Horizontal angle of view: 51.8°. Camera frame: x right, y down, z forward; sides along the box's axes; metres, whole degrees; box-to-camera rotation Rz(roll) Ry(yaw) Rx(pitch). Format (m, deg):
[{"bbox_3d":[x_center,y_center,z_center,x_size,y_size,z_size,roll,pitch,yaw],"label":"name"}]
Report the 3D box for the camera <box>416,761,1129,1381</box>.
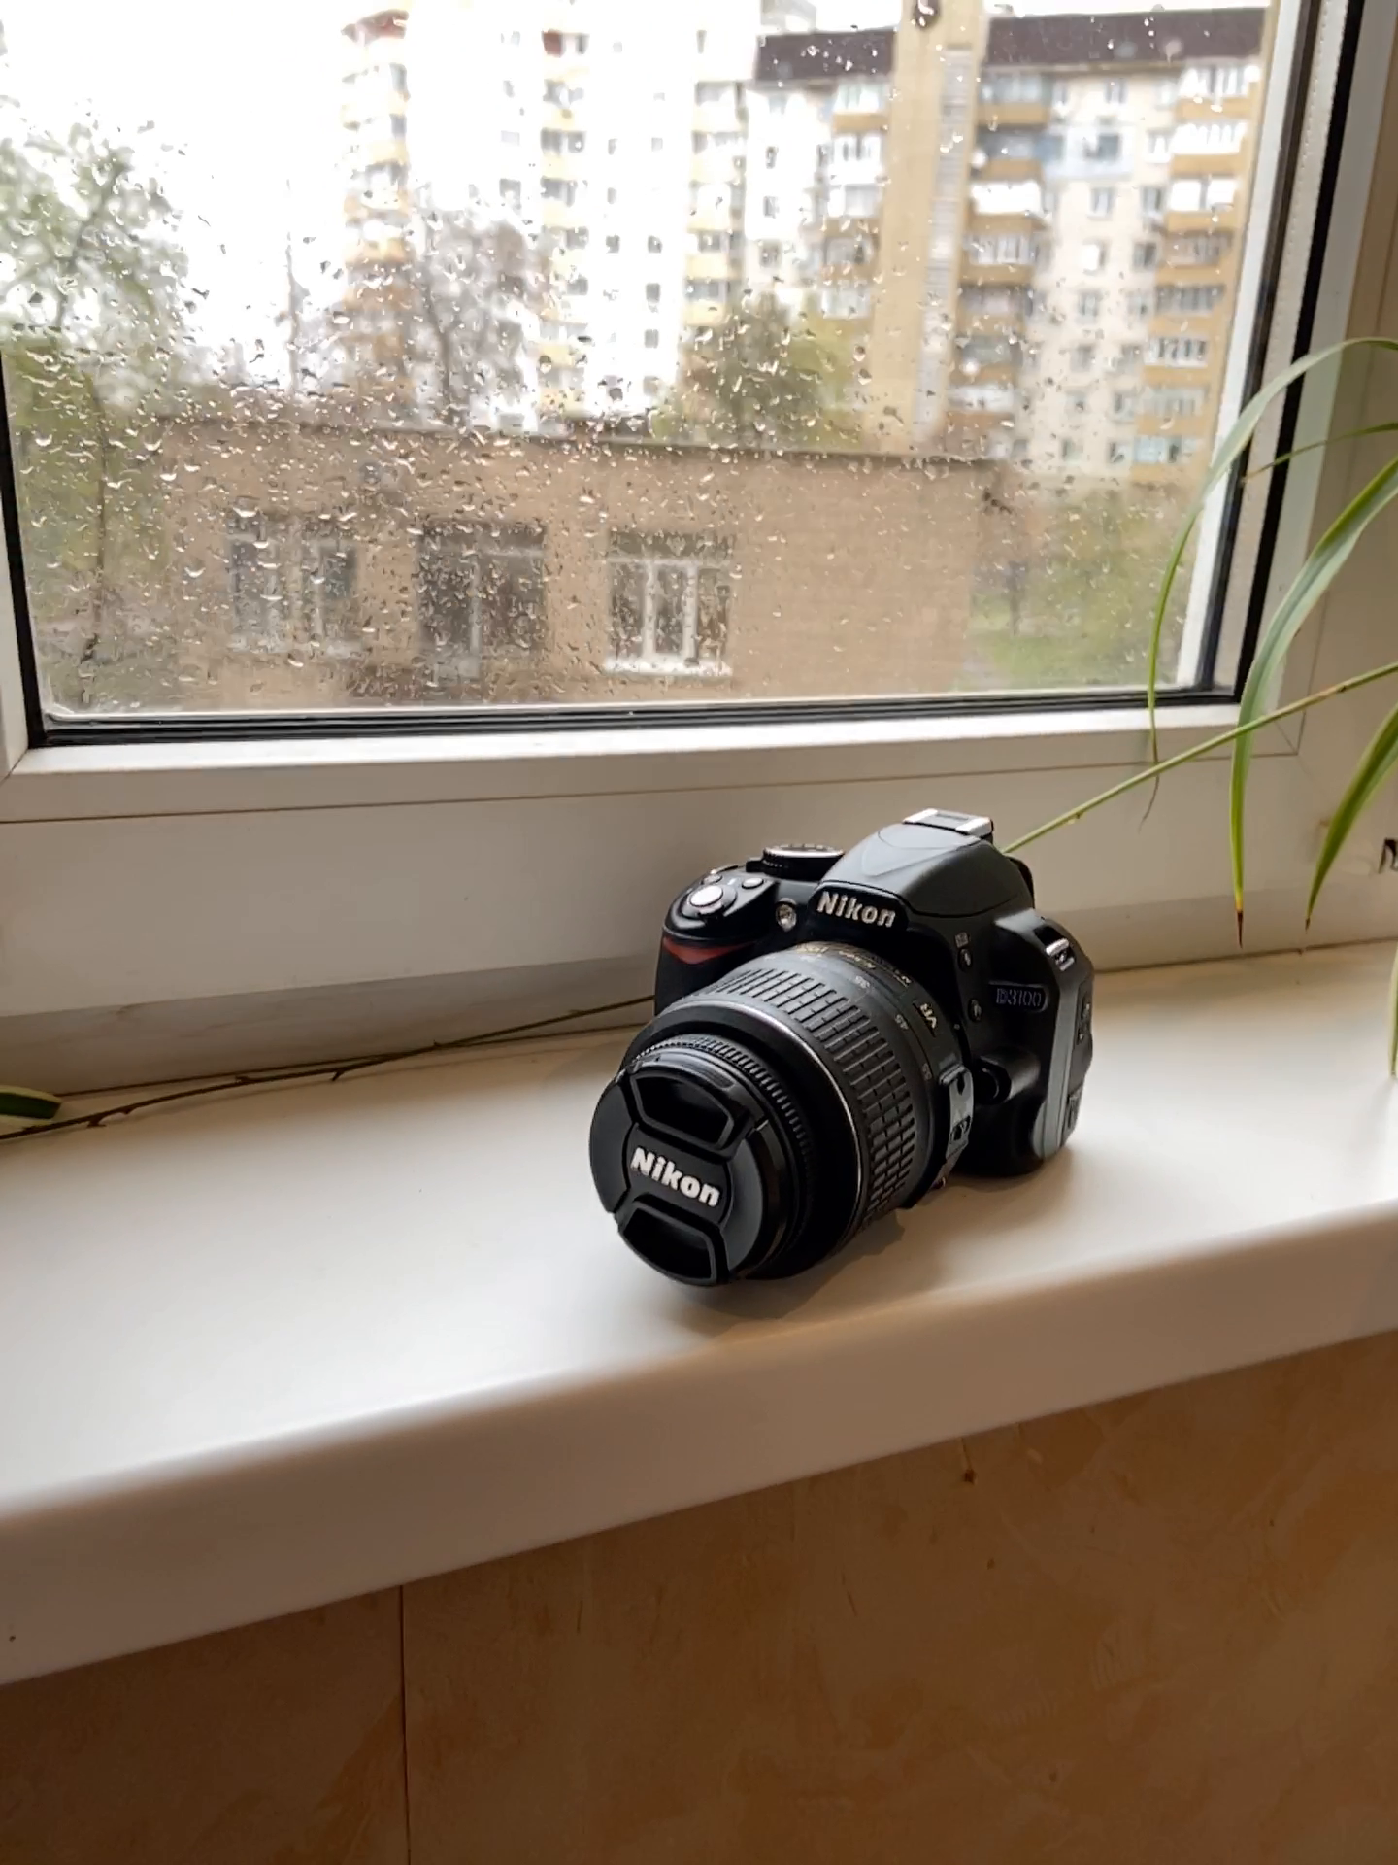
[{"bbox_3d":[0.025,0.020,0.387,0.124,0.091,0.155,14,22,30],"label":"camera"}]
